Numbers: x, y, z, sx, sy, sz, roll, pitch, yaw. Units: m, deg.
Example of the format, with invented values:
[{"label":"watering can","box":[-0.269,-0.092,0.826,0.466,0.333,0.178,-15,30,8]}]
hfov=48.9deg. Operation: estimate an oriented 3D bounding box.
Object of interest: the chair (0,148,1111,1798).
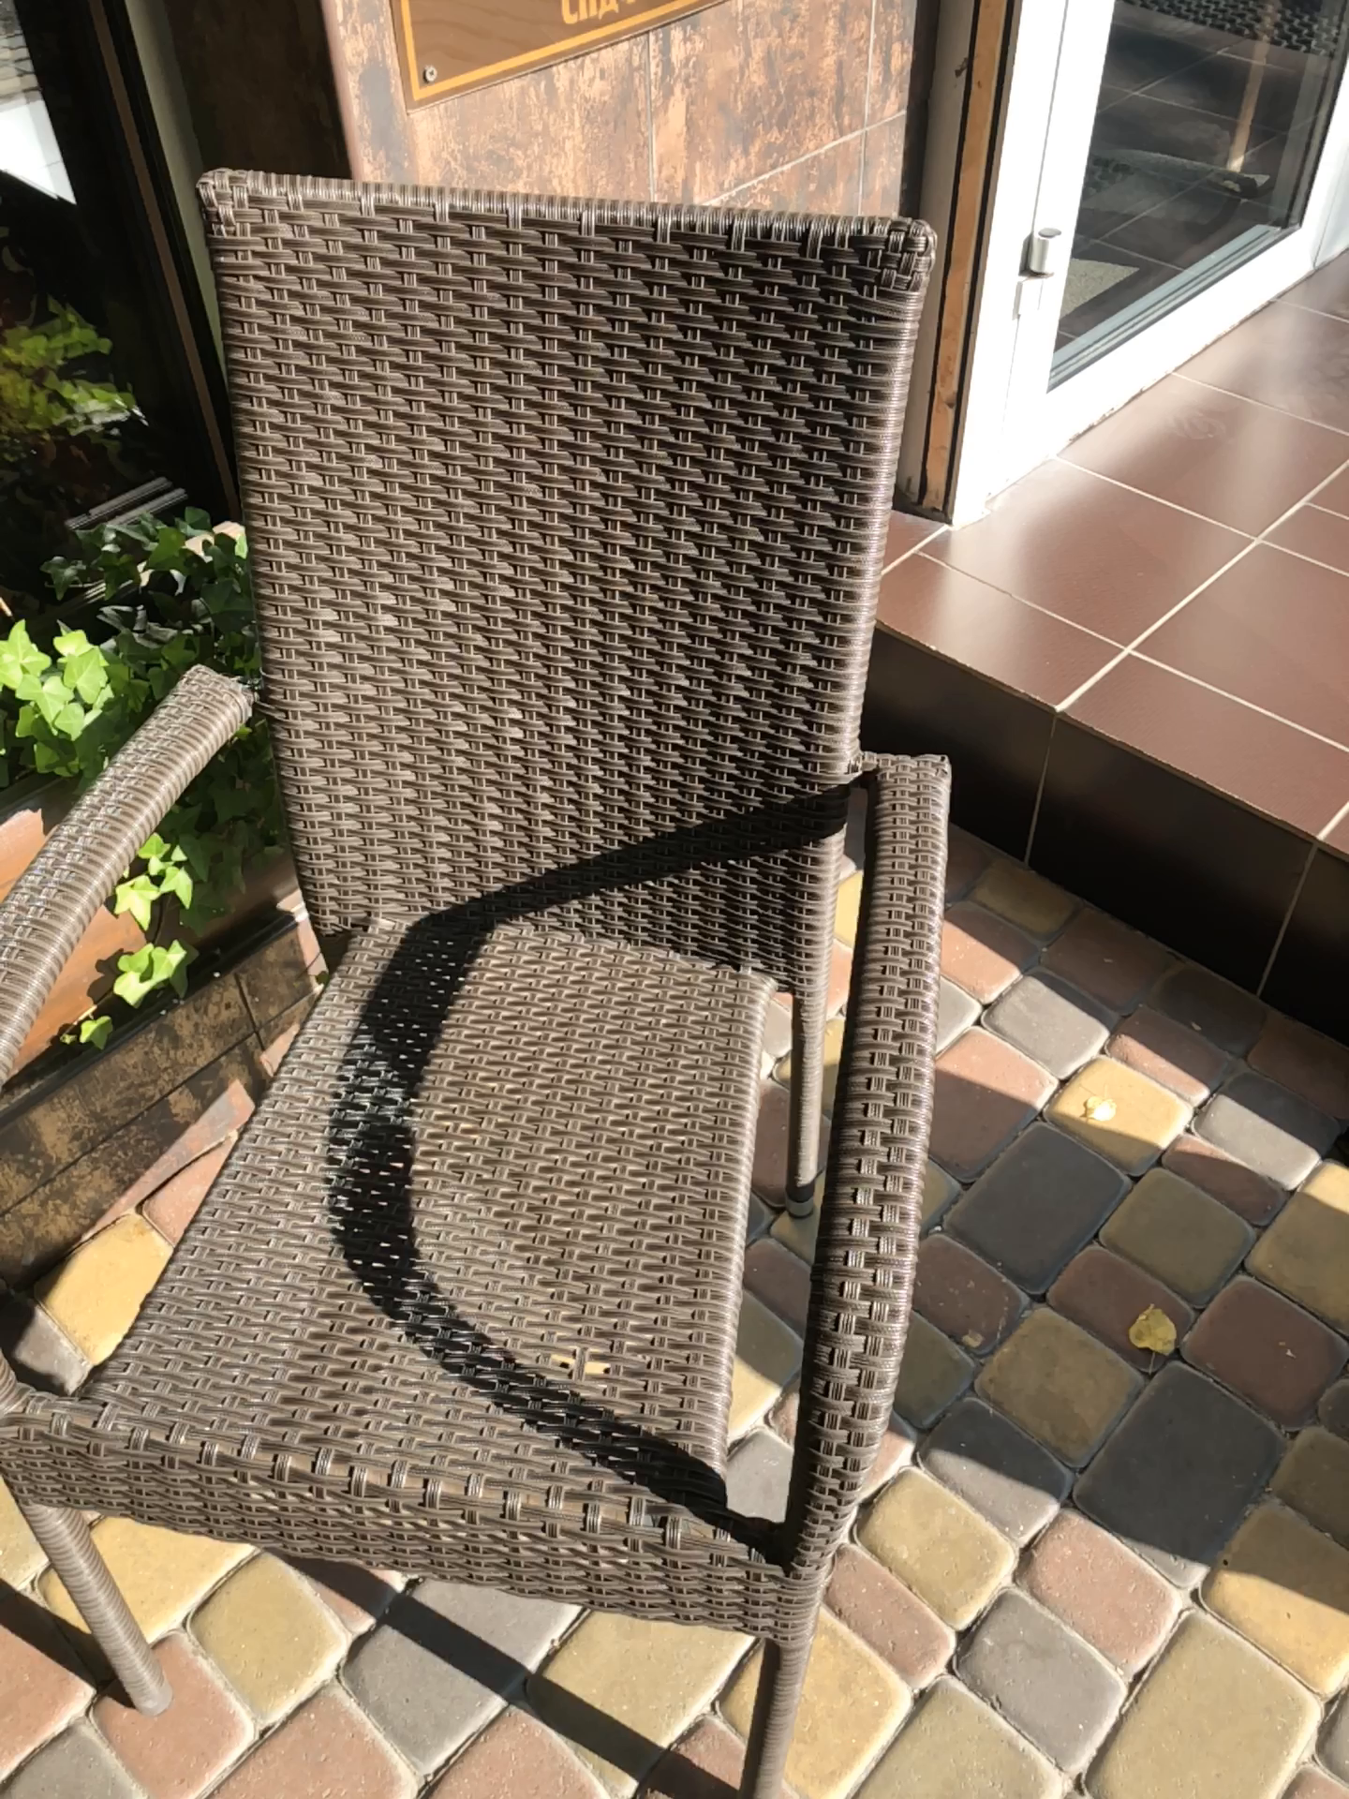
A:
[{"label":"chair","box":[-0.097,0.105,1.034,0.610,0.906,0.723,8,47,9]}]
